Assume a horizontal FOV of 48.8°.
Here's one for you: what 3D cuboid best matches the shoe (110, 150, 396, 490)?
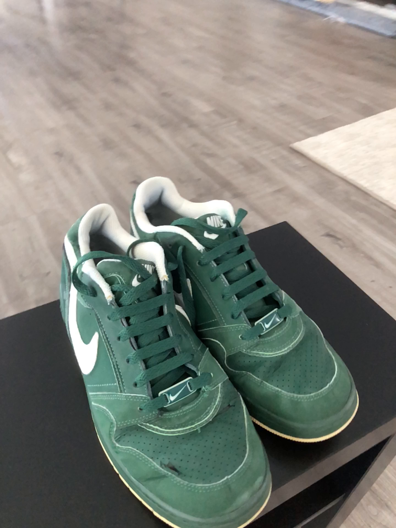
[{"bbox_3d":[0.034,0.023,0.387,0.110,0.100,0.281,-22,51,-23],"label":"shoe"}]

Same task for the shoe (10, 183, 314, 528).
[{"bbox_3d":[-0.053,0.067,0.349,0.100,0.100,0.293,-20,50,-22],"label":"shoe"}]
